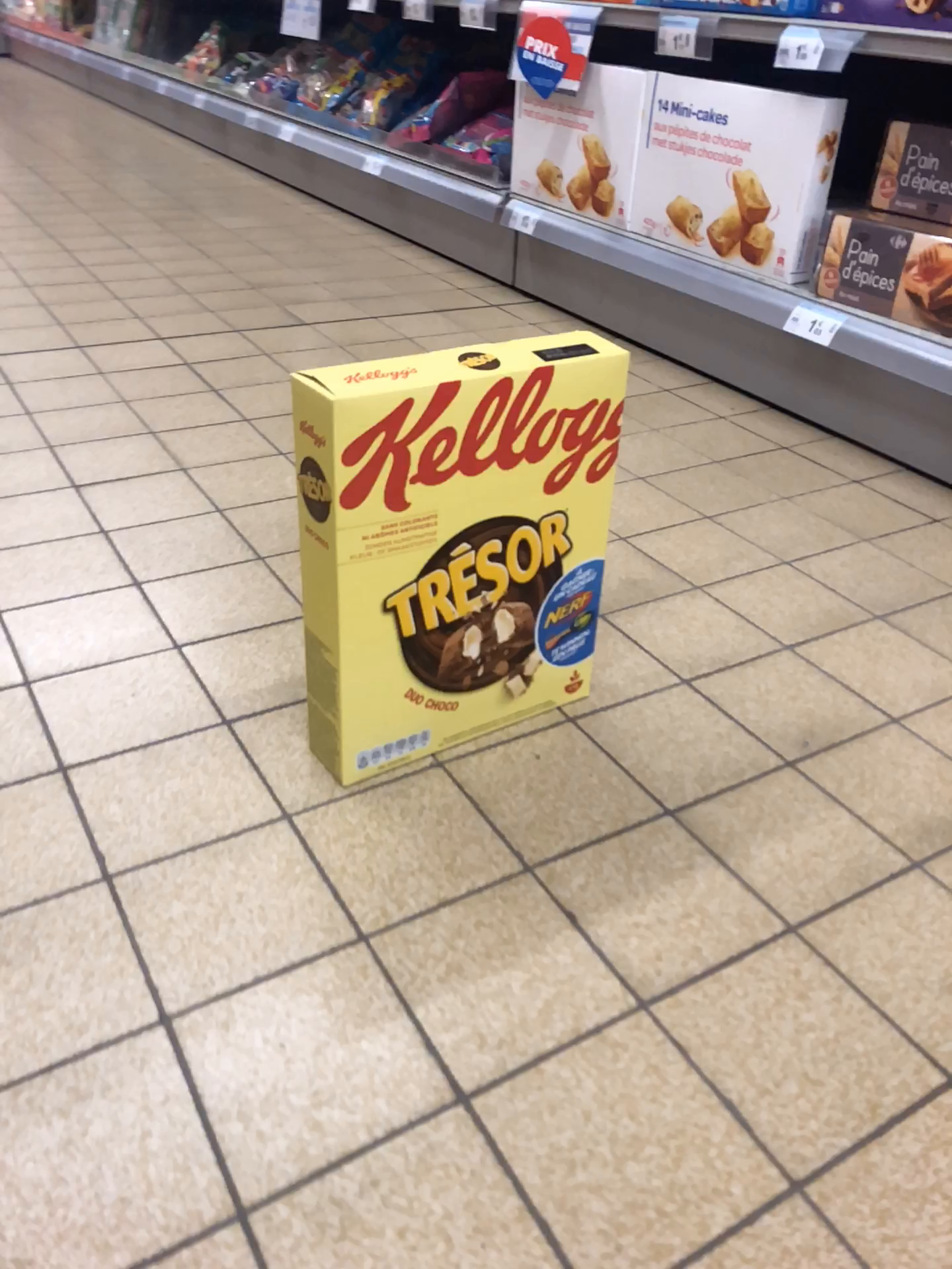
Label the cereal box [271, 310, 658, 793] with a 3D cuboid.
[{"bbox_3d":[-0.008,-0.050,0.601,0.201,0.238,0.060,-16,37,-30],"label":"cereal box"}]
